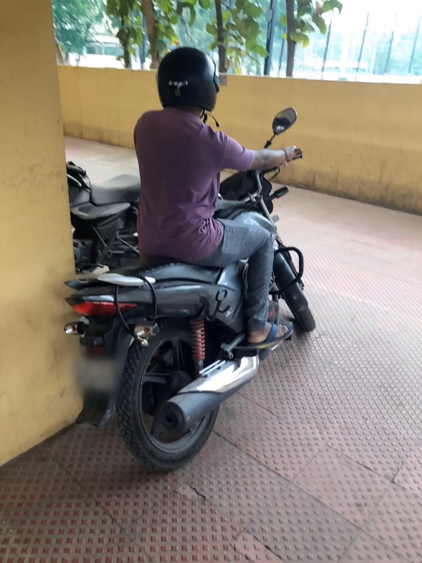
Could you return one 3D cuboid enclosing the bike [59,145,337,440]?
[{"bbox_3d":[0.028,-0.091,2.283,0.700,1.000,1.242,15,25,26],"label":"bike"}]
